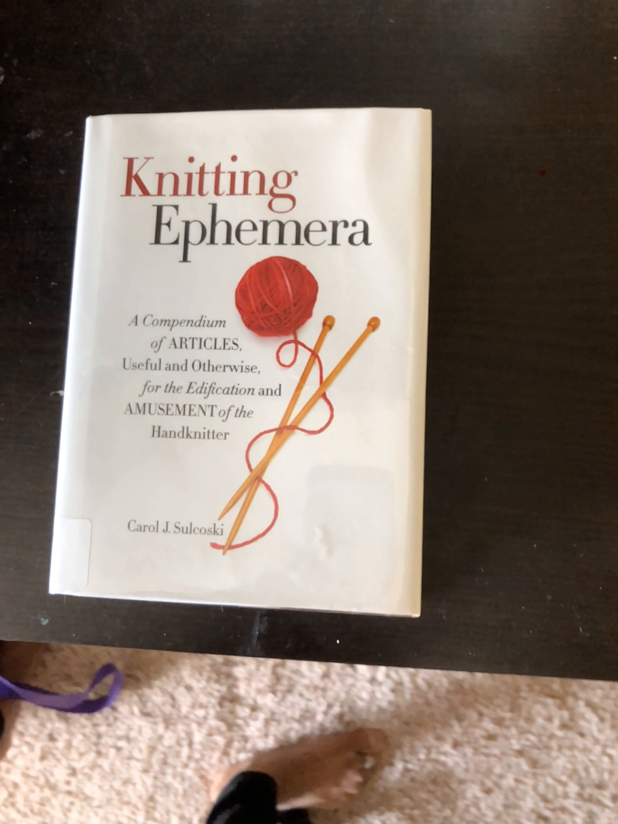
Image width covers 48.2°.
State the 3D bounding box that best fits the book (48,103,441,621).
[{"bbox_3d":[-0.021,-0.020,0.257,0.132,0.029,0.178,1,85,7],"label":"book"}]
